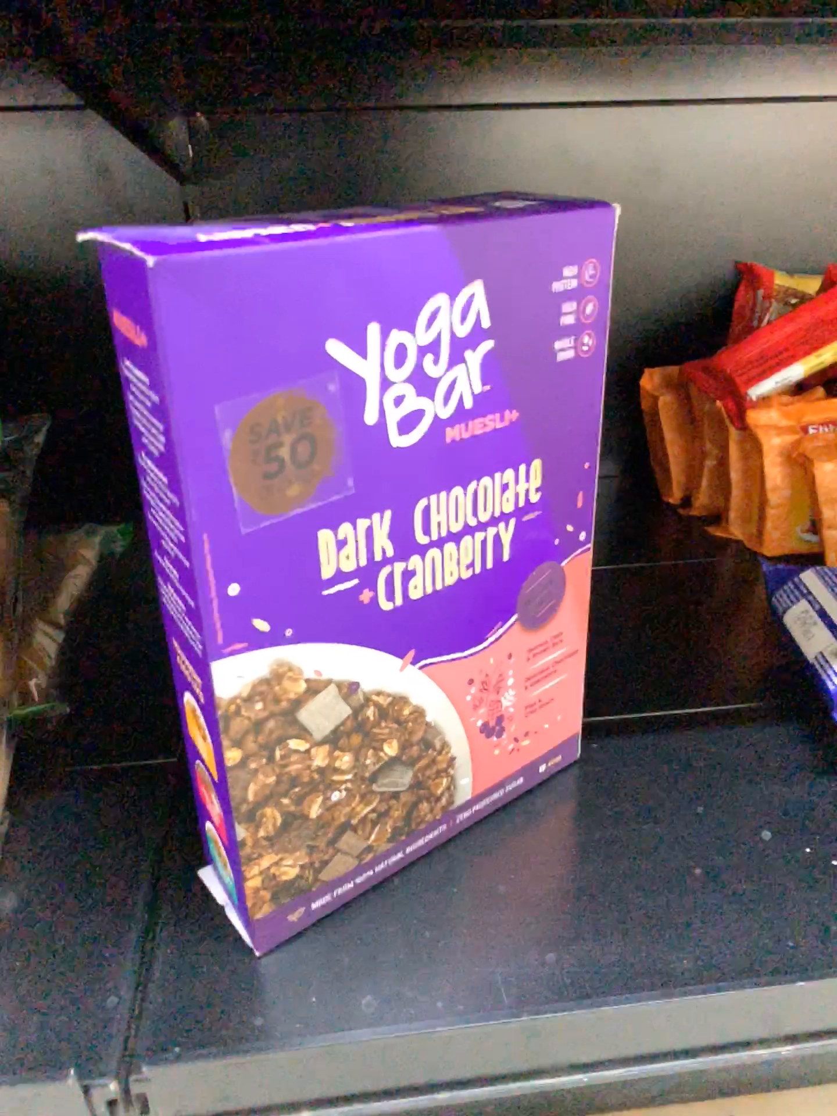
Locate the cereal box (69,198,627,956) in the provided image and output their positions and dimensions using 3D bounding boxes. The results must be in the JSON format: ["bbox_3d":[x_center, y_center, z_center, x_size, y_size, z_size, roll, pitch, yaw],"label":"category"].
[{"bbox_3d":[-0.010,-0.001,0.309,0.170,0.228,0.050,-19,30,-33],"label":"cereal box"}]
